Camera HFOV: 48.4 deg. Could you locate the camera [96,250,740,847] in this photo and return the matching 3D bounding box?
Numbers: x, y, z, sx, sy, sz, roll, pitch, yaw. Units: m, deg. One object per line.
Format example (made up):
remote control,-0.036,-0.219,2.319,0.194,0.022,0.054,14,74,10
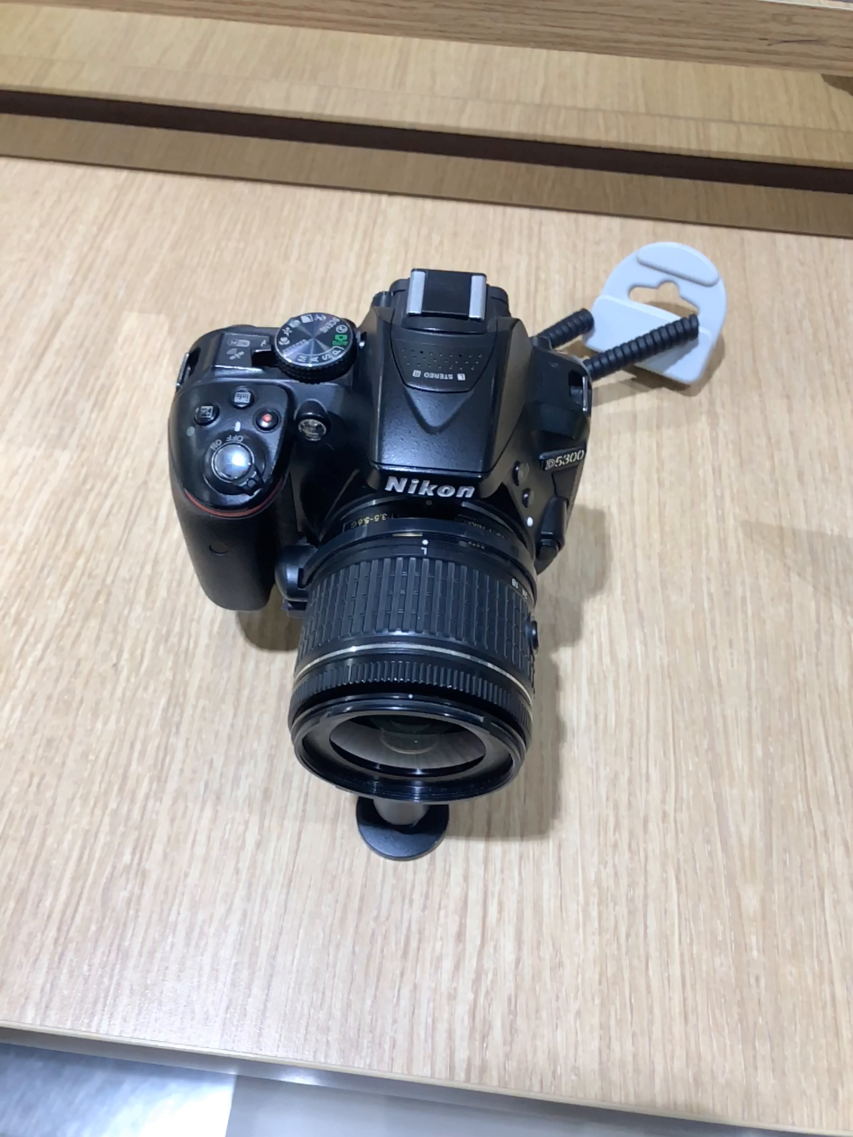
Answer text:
camera,0.001,-0.002,0.250,0.120,0.102,0.111,4,55,1
